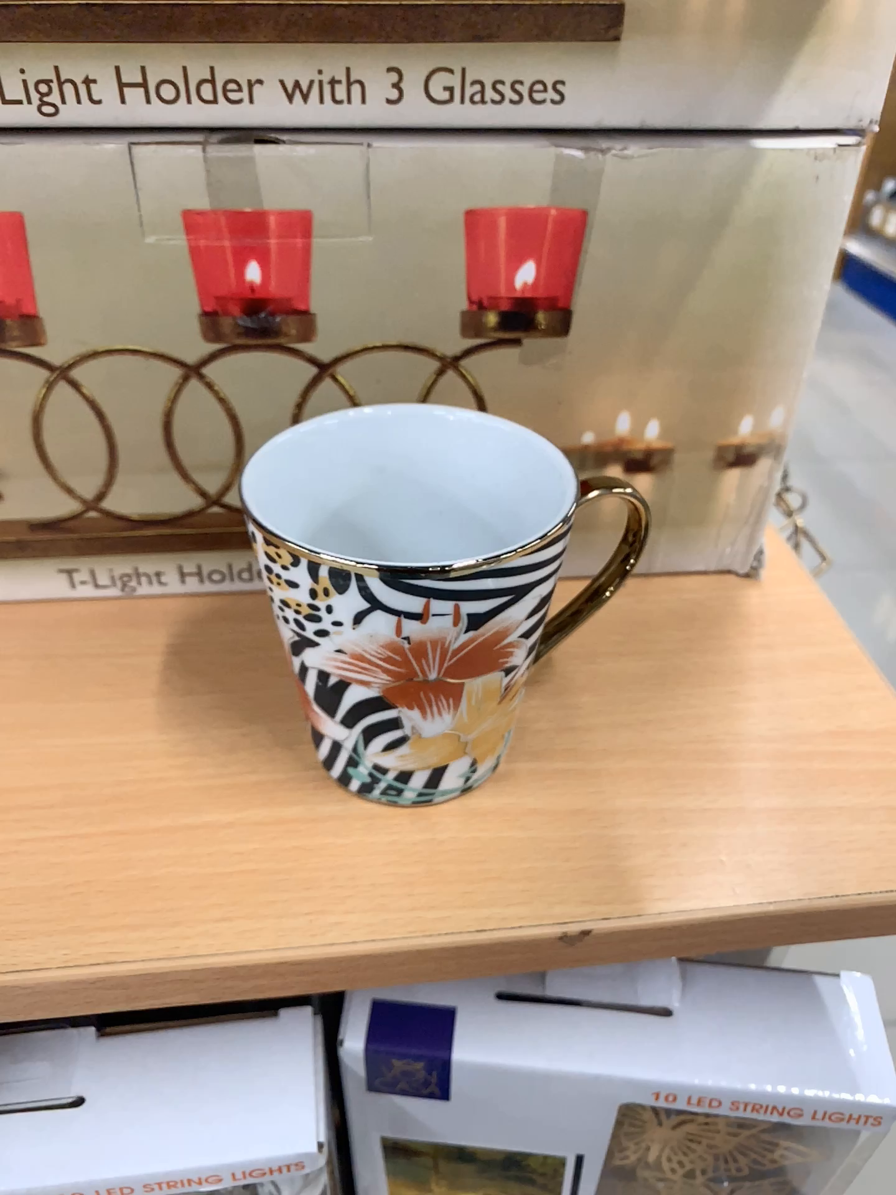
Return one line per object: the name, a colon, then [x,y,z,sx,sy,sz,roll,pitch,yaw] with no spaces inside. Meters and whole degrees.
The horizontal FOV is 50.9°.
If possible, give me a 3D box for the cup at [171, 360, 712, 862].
cup: [-0.006,-0.002,0.229,0.100,0.080,0.070,-10,38,-19]
